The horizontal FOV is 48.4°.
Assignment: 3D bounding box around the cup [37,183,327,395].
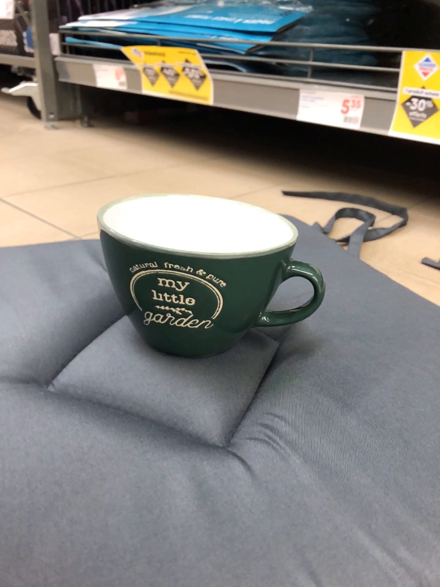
[{"bbox_3d":[-0.010,-0.014,0.285,0.130,0.060,0.121,2,27,-1],"label":"cup"}]
